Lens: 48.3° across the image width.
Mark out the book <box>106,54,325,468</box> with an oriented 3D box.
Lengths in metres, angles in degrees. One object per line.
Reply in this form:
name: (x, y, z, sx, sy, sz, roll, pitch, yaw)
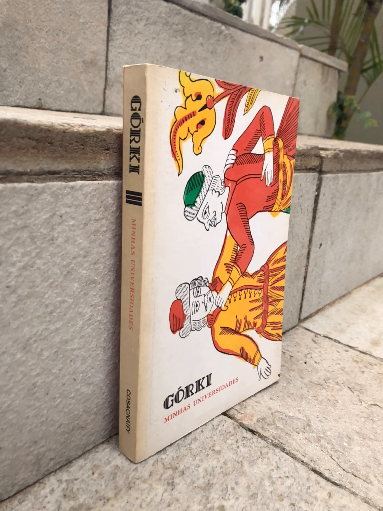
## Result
book: (0.019, -0.001, 0.248, 0.030, 0.189, 0.142, 15, 19, 43)
